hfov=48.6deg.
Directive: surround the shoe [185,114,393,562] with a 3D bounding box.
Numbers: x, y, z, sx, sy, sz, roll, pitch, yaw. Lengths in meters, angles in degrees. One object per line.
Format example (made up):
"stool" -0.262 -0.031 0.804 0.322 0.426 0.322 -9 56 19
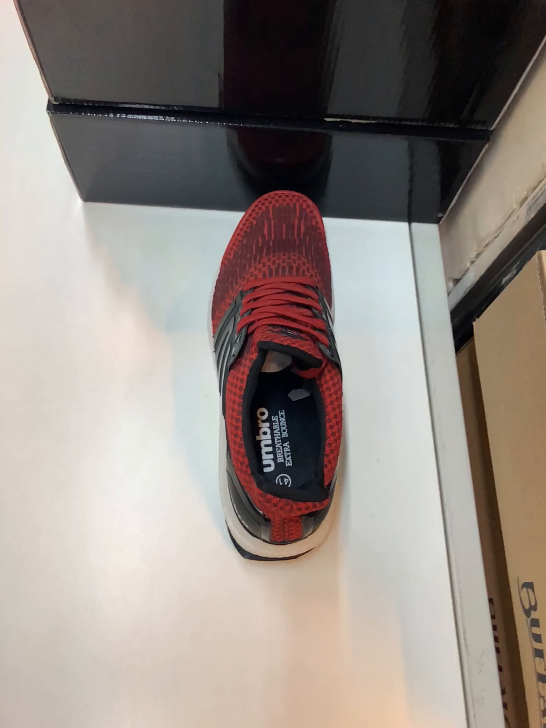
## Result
"shoe" 0.004 -0.015 0.417 0.111 0.108 0.286 1 72 -4
